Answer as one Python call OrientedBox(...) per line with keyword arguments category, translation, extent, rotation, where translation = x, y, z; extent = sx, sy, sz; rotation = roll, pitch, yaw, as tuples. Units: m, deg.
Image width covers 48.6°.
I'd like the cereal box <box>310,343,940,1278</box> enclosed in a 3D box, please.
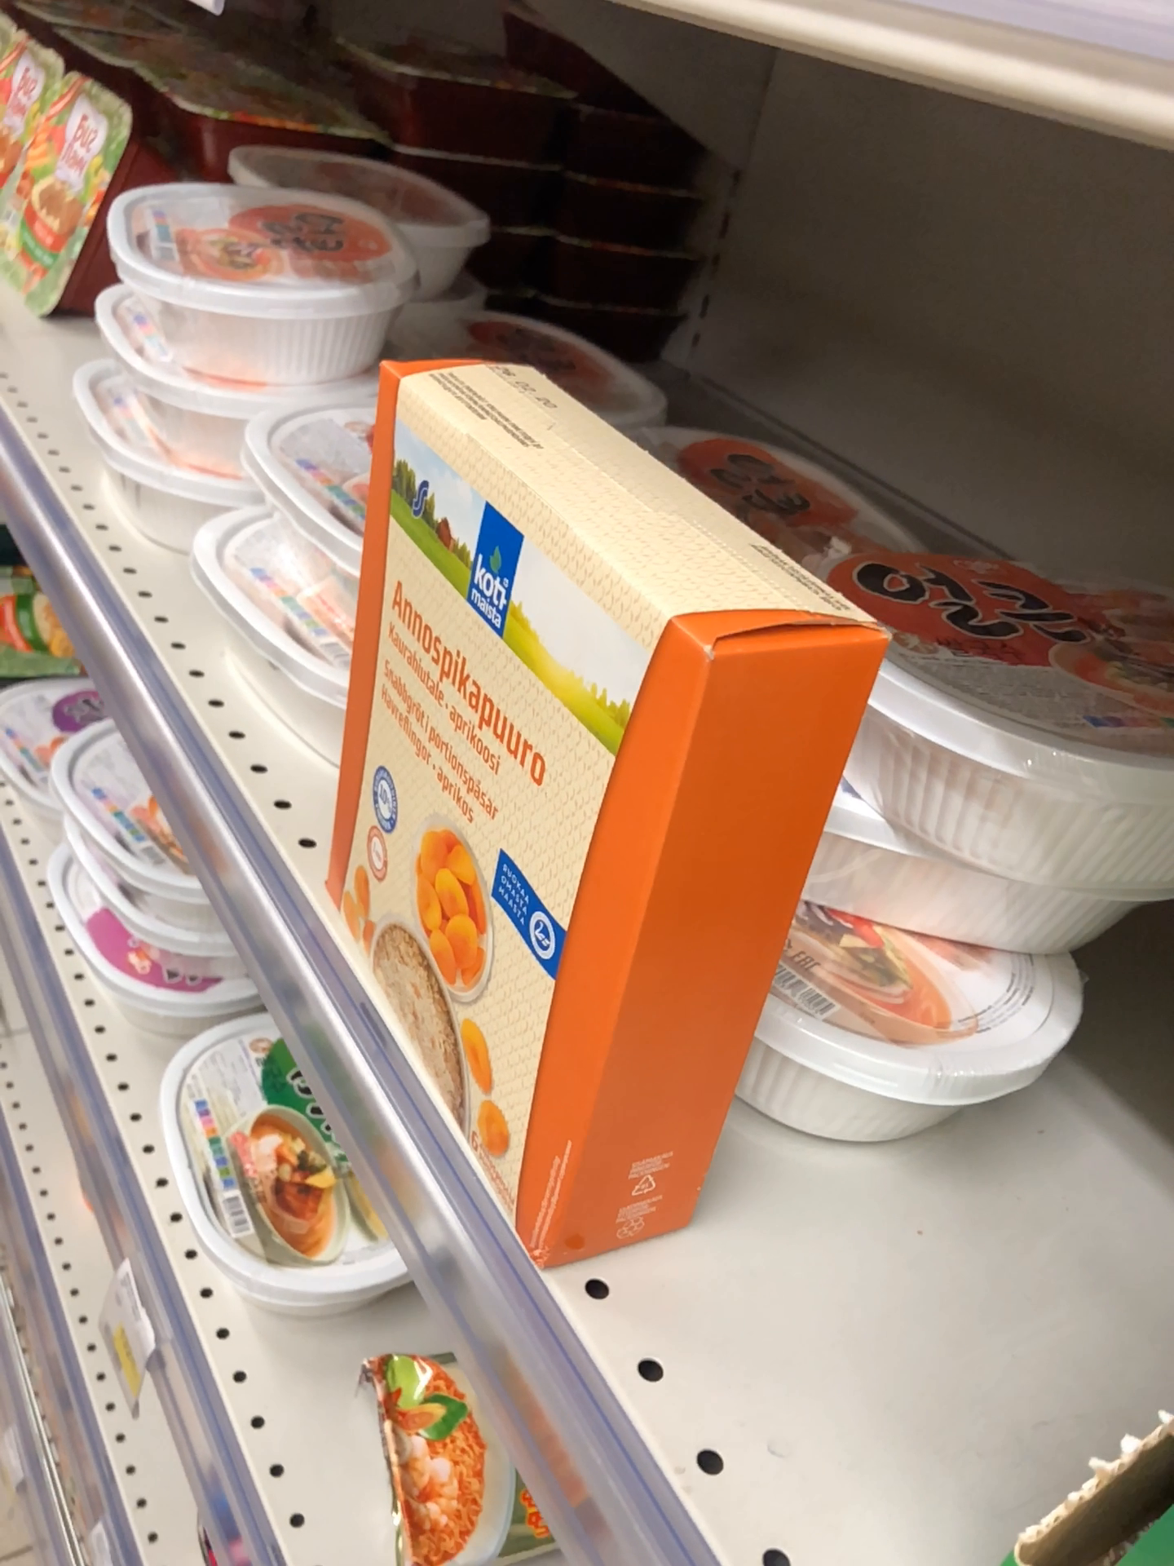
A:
OrientedBox(category="cereal box", translation=(-0.012, -0.001, 0.353), extent=(0.060, 0.179, 0.171), rotation=(-6, 36, -29))
